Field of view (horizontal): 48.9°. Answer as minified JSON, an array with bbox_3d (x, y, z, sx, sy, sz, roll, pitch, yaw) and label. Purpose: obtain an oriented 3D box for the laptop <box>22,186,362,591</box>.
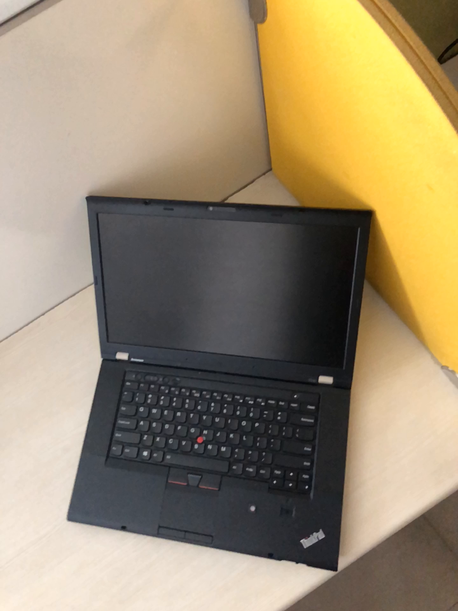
[{"bbox_3d":[-0.023,0.087,0.648,0.353,0.144,0.418,5,74,9],"label":"laptop"}]
